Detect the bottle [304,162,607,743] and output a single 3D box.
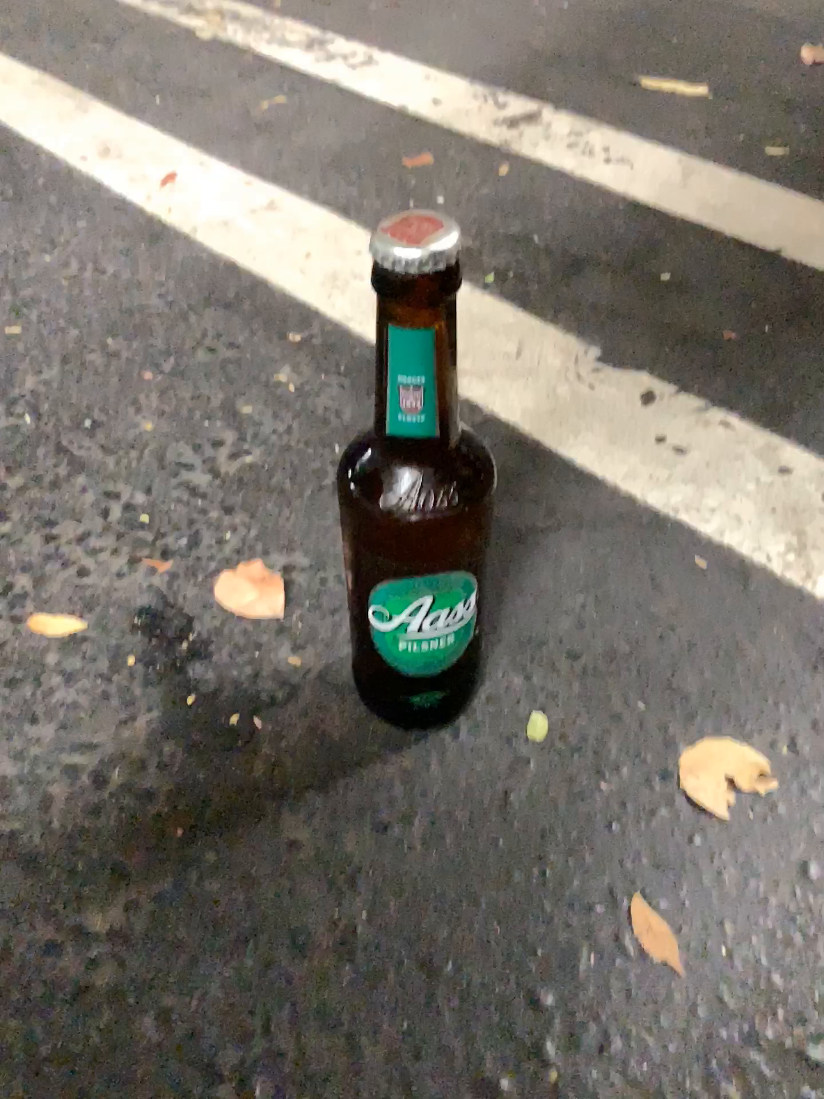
[{"bbox_3d":[0.007,-0.021,0.339,0.070,0.210,0.070,1,47,-1],"label":"bottle"}]
